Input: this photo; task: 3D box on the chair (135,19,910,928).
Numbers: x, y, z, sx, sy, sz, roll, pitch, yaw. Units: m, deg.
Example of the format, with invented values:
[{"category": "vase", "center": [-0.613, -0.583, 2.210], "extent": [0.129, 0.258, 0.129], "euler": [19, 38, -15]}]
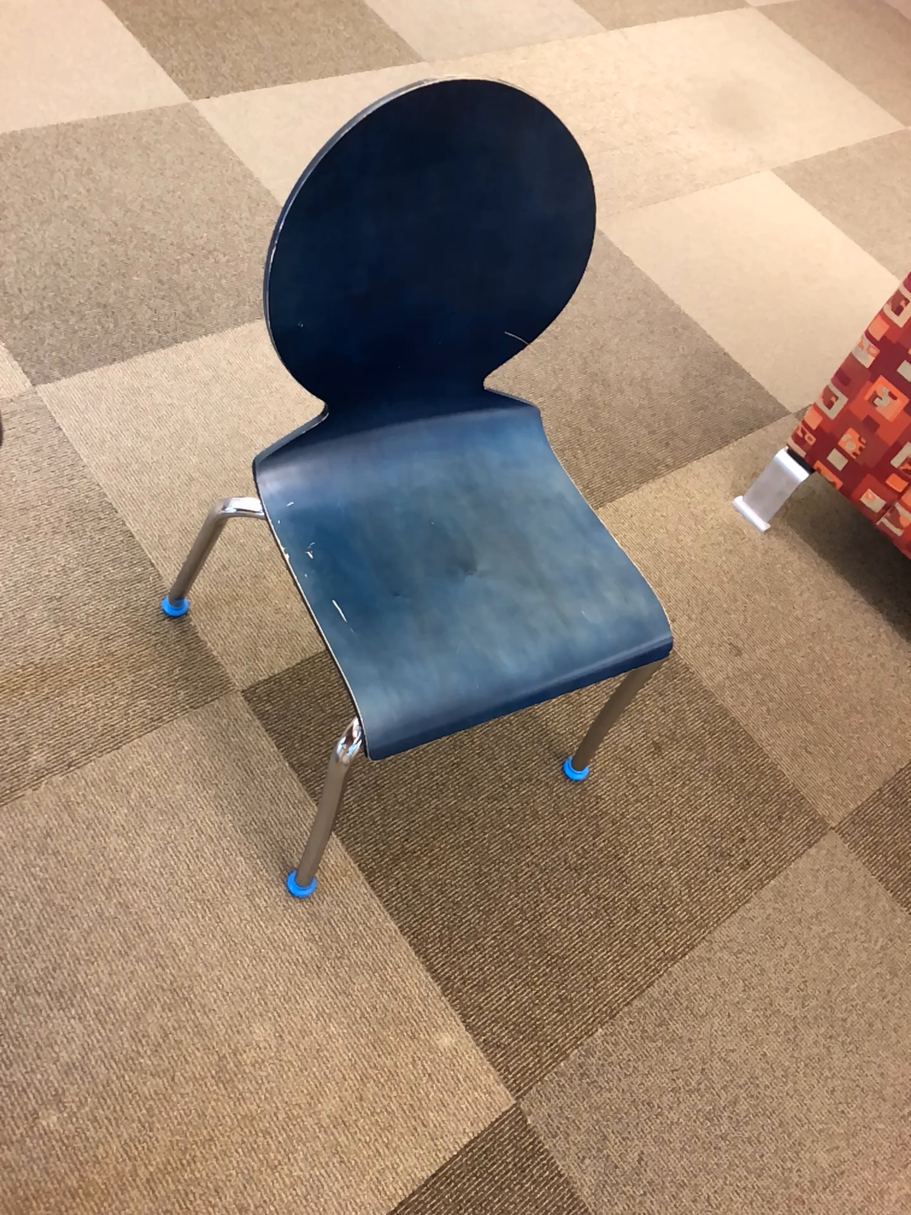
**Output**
[{"category": "chair", "center": [0.012, -0.100, 1.003], "extent": [0.498, 0.699, 0.474], "euler": [-17, 63, -25]}]
